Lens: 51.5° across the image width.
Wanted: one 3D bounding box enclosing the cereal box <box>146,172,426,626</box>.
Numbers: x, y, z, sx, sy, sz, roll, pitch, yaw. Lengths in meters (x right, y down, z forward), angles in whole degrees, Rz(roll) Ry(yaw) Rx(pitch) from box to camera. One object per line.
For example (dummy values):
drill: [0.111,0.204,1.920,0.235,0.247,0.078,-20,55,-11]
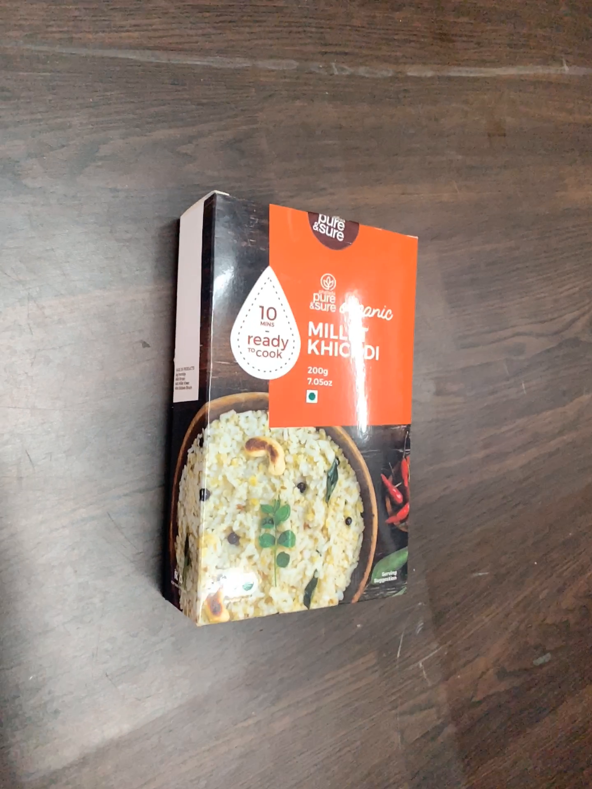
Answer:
cereal box: [-0.001,0.003,0.261,0.110,0.040,0.160,2,88,-30]
